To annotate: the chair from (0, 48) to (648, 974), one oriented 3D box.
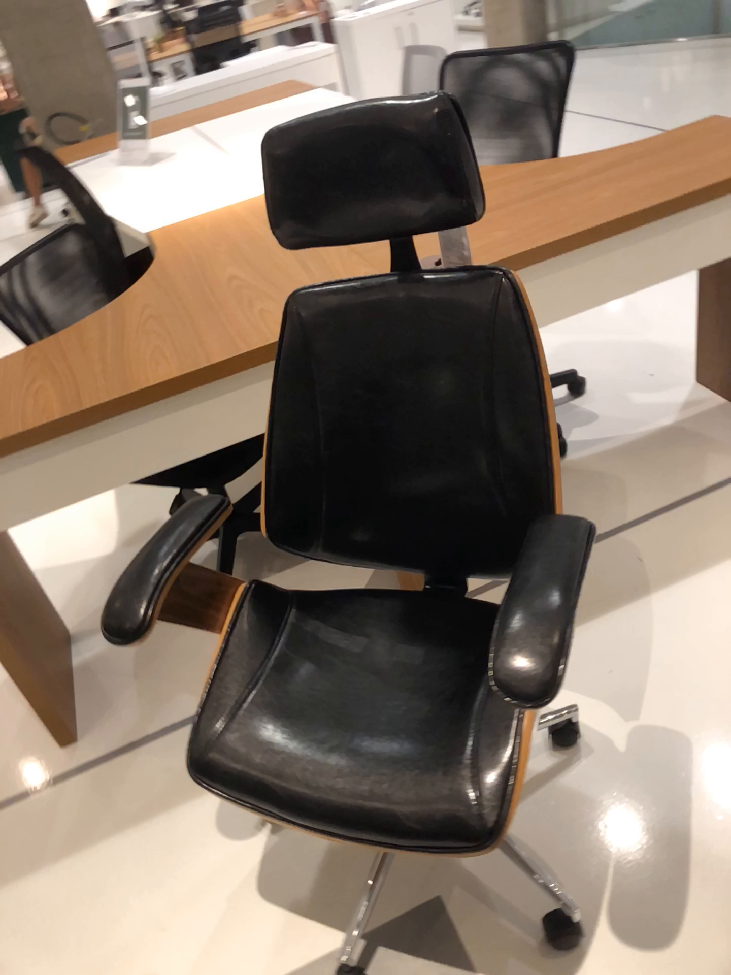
[{"bbox_3d":[0.001,0.131,1.141,0.721,1.101,0.765,0,37,21],"label":"chair"}]
